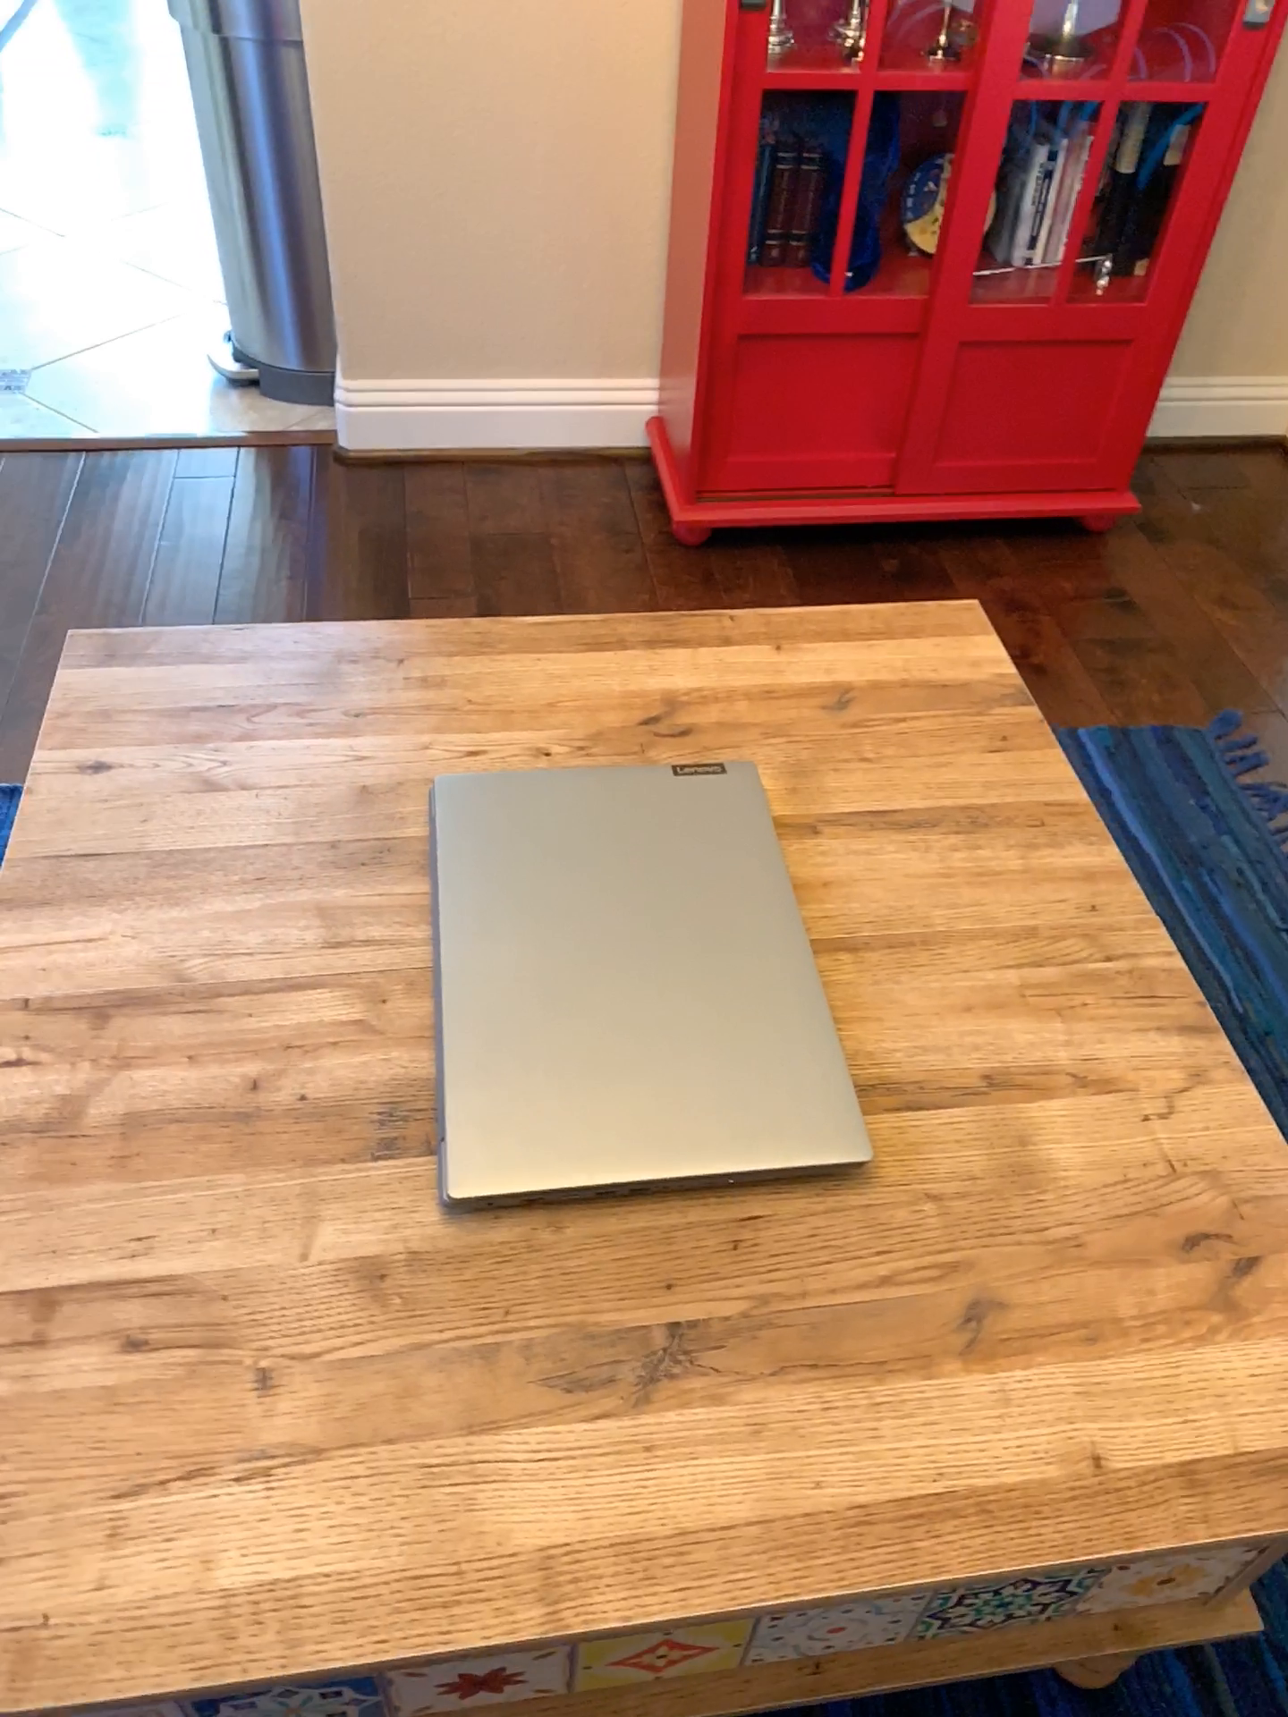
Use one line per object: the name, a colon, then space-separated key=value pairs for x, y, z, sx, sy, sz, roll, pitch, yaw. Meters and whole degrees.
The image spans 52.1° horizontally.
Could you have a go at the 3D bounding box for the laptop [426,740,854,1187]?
laptop: x=-0.021 y=0.047 z=0.868 sx=0.237 sy=0.011 sz=0.348 roll=-5 pitch=46 yaw=-6
